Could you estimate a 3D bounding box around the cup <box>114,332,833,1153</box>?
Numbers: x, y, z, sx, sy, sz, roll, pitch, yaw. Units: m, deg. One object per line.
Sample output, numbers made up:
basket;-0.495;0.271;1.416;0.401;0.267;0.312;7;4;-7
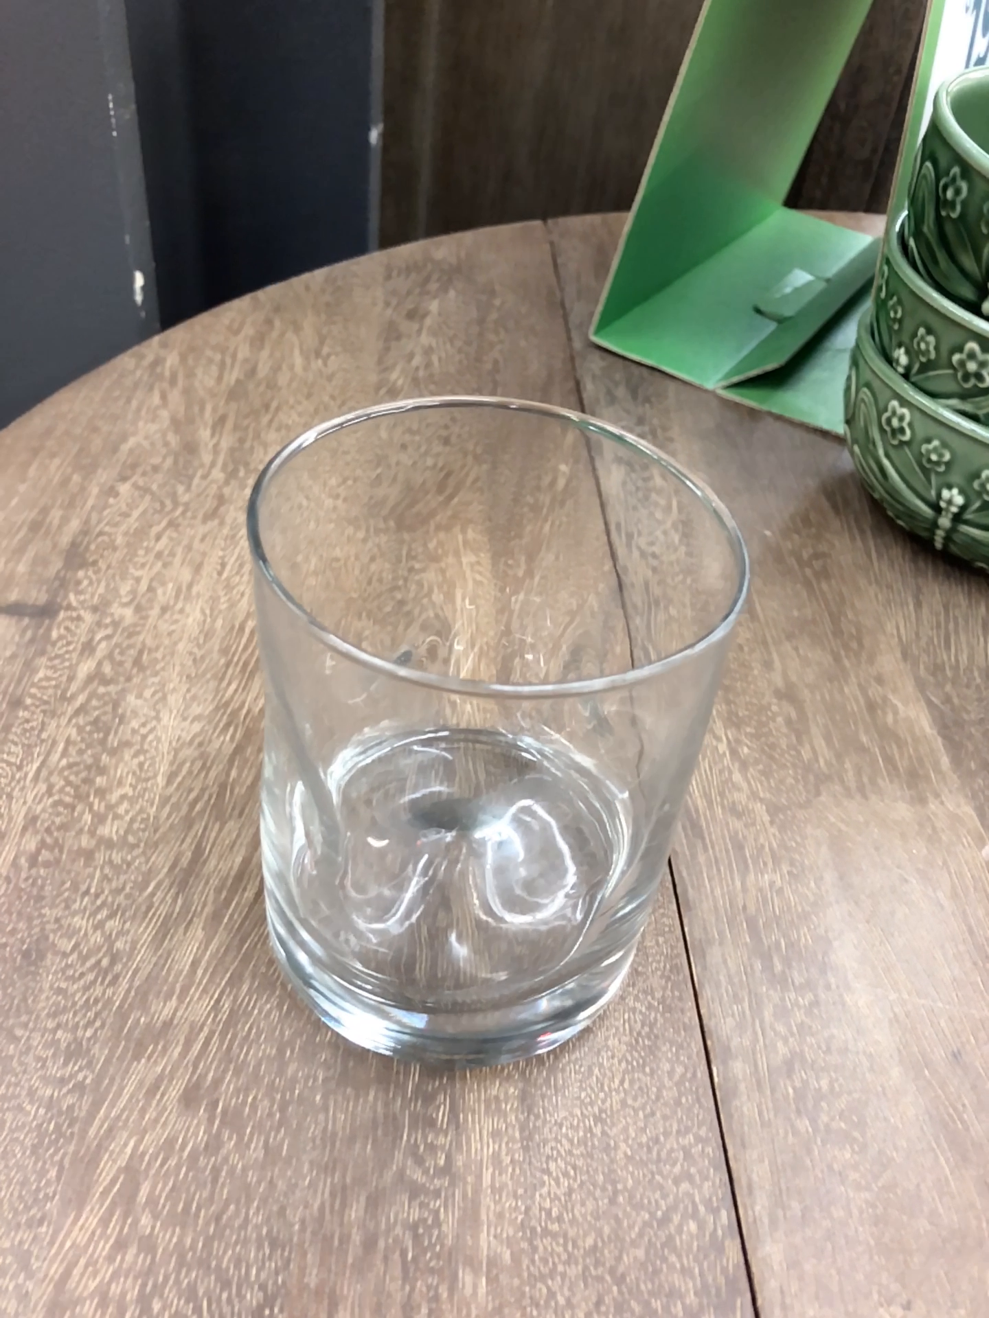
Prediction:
cup;-0.001;0.012;0.202;0.084;0.098;0.084;4;41;-3
